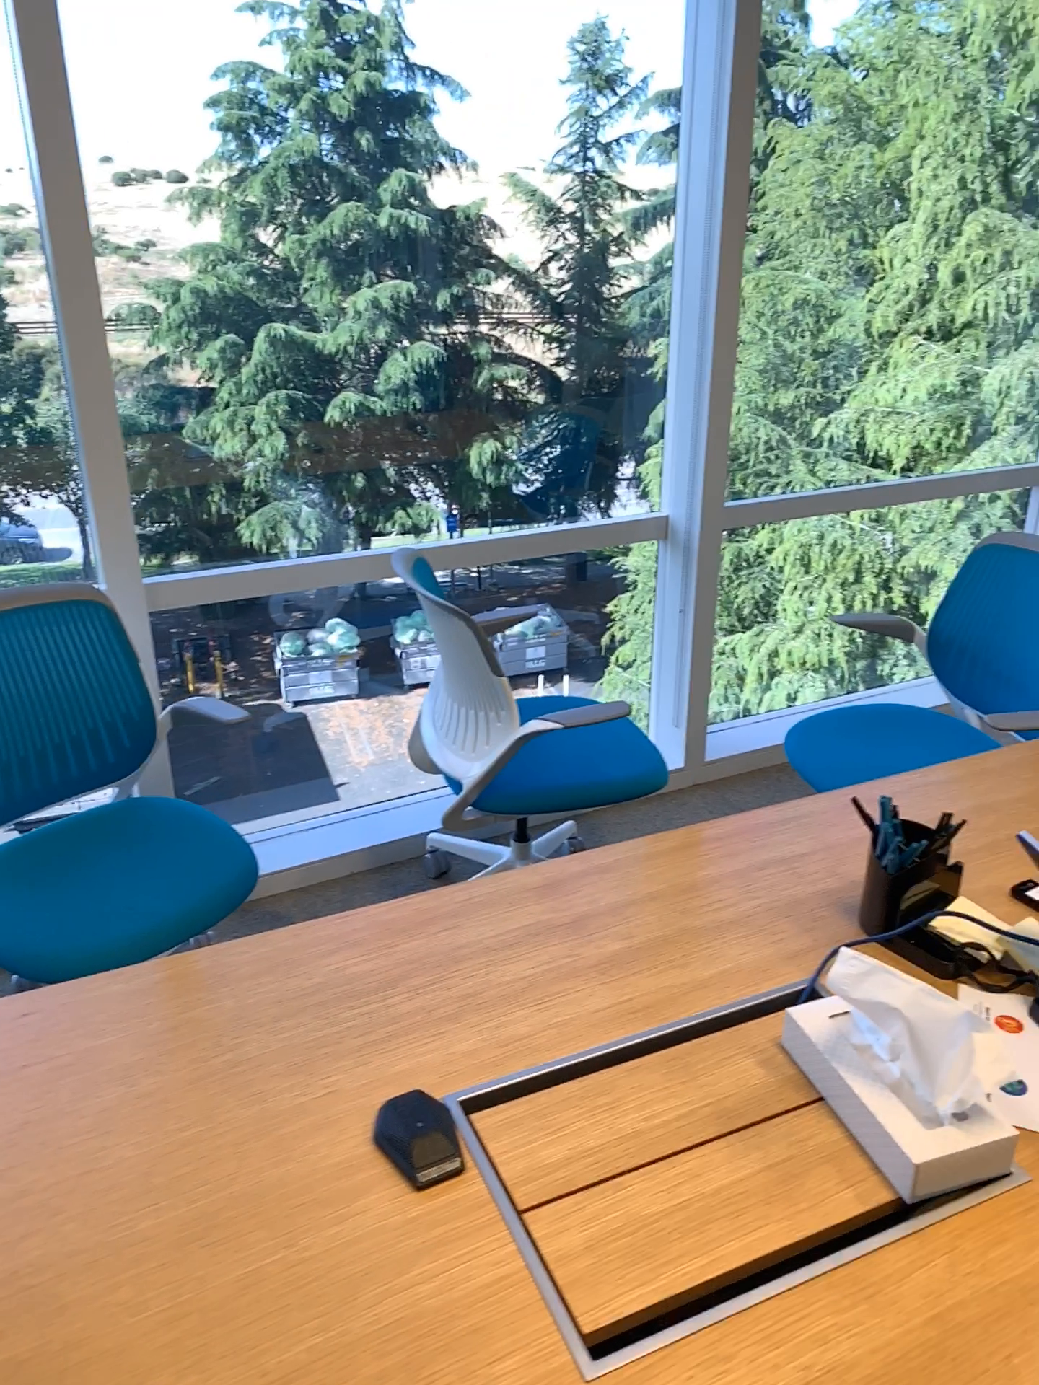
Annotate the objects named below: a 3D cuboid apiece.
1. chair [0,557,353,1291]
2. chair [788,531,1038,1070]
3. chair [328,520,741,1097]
[{"bbox_3d":[-0.949,0.413,2.358,0.731,1.134,0.874,-18,30,-36],"label":"chair"},{"bbox_3d":[1.136,0.235,2.593,0.630,1.094,0.543,-8,25,-18],"label":"chair"},{"bbox_3d":[0.007,0.214,2.445,0.640,1.015,0.653,-12,26,-26],"label":"chair"}]
